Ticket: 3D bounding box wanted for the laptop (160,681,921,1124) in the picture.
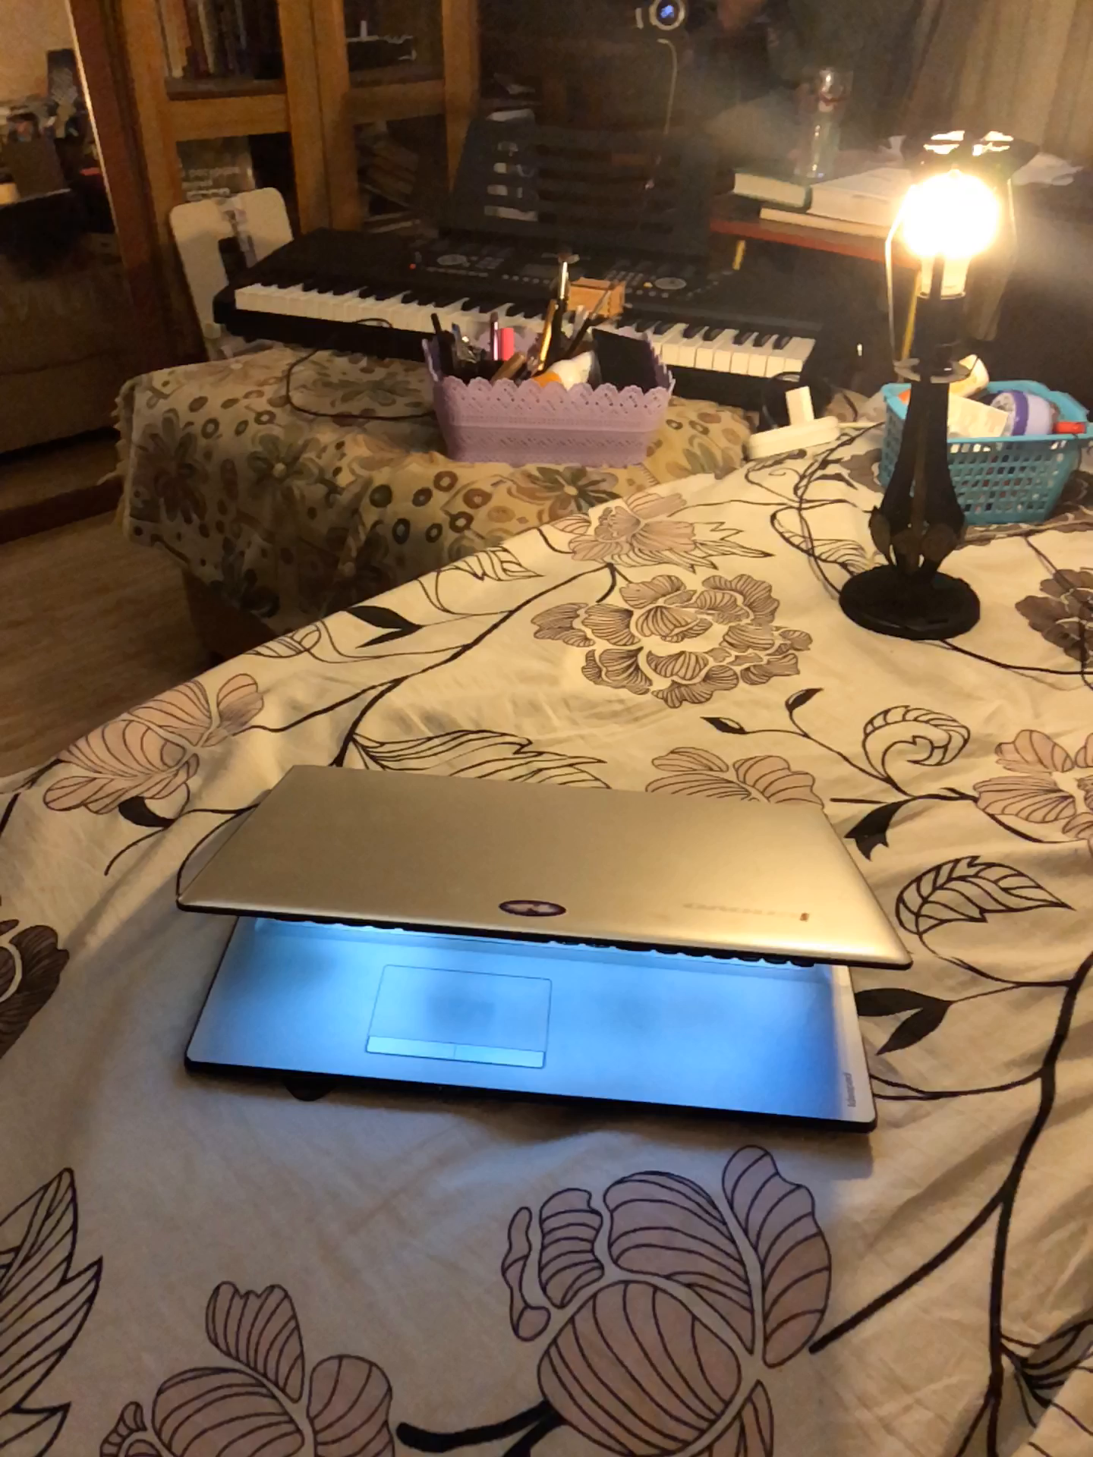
[{"bbox_3d":[-0.001,0.087,0.726,0.380,0.082,0.258,3,34,4],"label":"laptop"}]
